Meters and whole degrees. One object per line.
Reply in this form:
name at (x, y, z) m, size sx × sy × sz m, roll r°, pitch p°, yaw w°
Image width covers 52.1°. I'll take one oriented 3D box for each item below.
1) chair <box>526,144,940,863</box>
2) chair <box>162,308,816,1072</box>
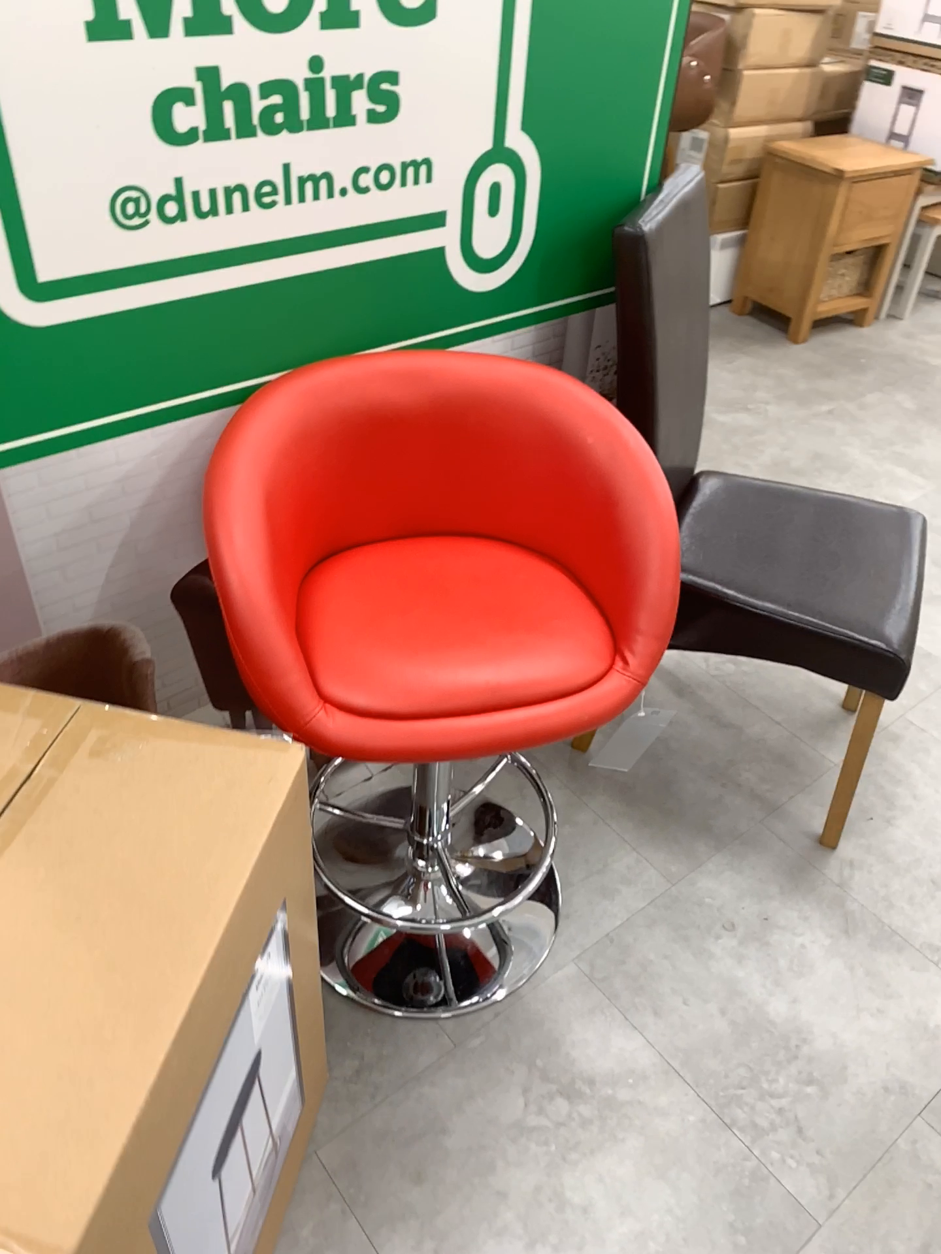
chair at (0.454, -0.186, 1.472) m, size 0.531 × 0.852 × 0.508 m, roll 16°, pitch 40°, yaw 15°
chair at (-0.027, 0.071, 1.217) m, size 0.535 × 0.743 × 0.464 m, roll -12°, pitch 41°, yaw -19°
